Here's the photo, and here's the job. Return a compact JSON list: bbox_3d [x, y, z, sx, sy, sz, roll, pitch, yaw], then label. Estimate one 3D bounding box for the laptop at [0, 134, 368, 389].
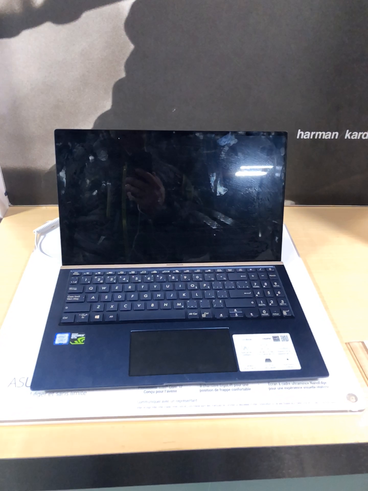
[{"bbox_3d":[-0.006,-0.004,0.516,0.330,0.173,0.294,-1,36,-3],"label":"laptop"}]
